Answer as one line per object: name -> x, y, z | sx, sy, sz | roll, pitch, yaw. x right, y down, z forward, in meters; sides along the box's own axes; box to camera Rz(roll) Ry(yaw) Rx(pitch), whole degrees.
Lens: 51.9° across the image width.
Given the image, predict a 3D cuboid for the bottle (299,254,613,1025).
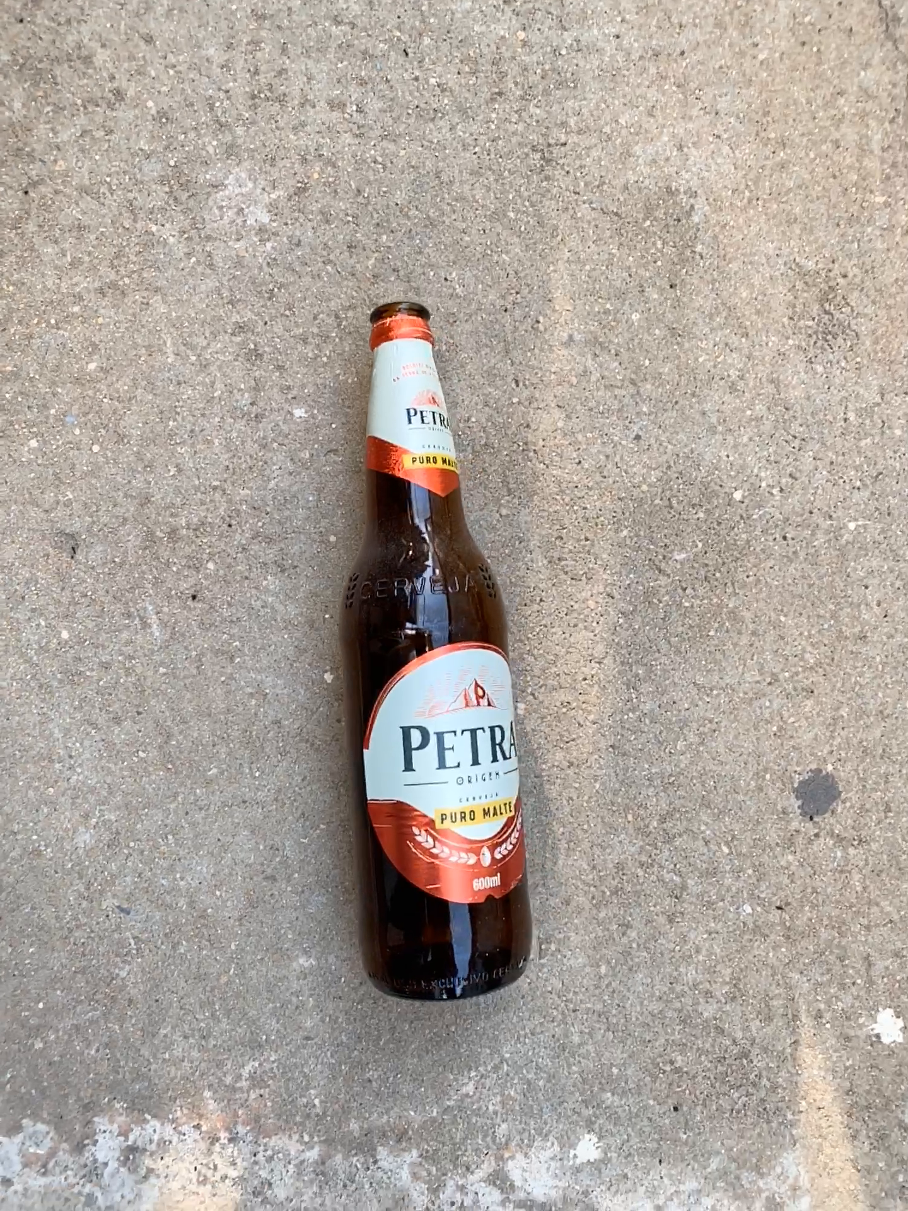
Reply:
bottle -> -0.003, 0.010, 0.375 | 0.080, 0.070, 0.270 | 1, 80, -35
